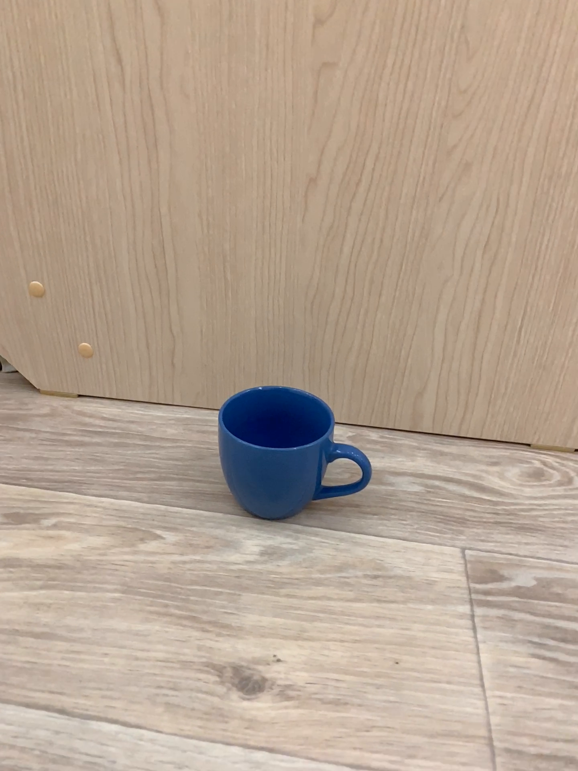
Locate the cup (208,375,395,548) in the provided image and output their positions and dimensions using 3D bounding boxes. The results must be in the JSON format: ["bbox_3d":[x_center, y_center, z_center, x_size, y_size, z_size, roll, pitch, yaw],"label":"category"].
[{"bbox_3d":[0.010,0.052,0.432,0.117,0.074,0.078,9,29,10],"label":"cup"}]
